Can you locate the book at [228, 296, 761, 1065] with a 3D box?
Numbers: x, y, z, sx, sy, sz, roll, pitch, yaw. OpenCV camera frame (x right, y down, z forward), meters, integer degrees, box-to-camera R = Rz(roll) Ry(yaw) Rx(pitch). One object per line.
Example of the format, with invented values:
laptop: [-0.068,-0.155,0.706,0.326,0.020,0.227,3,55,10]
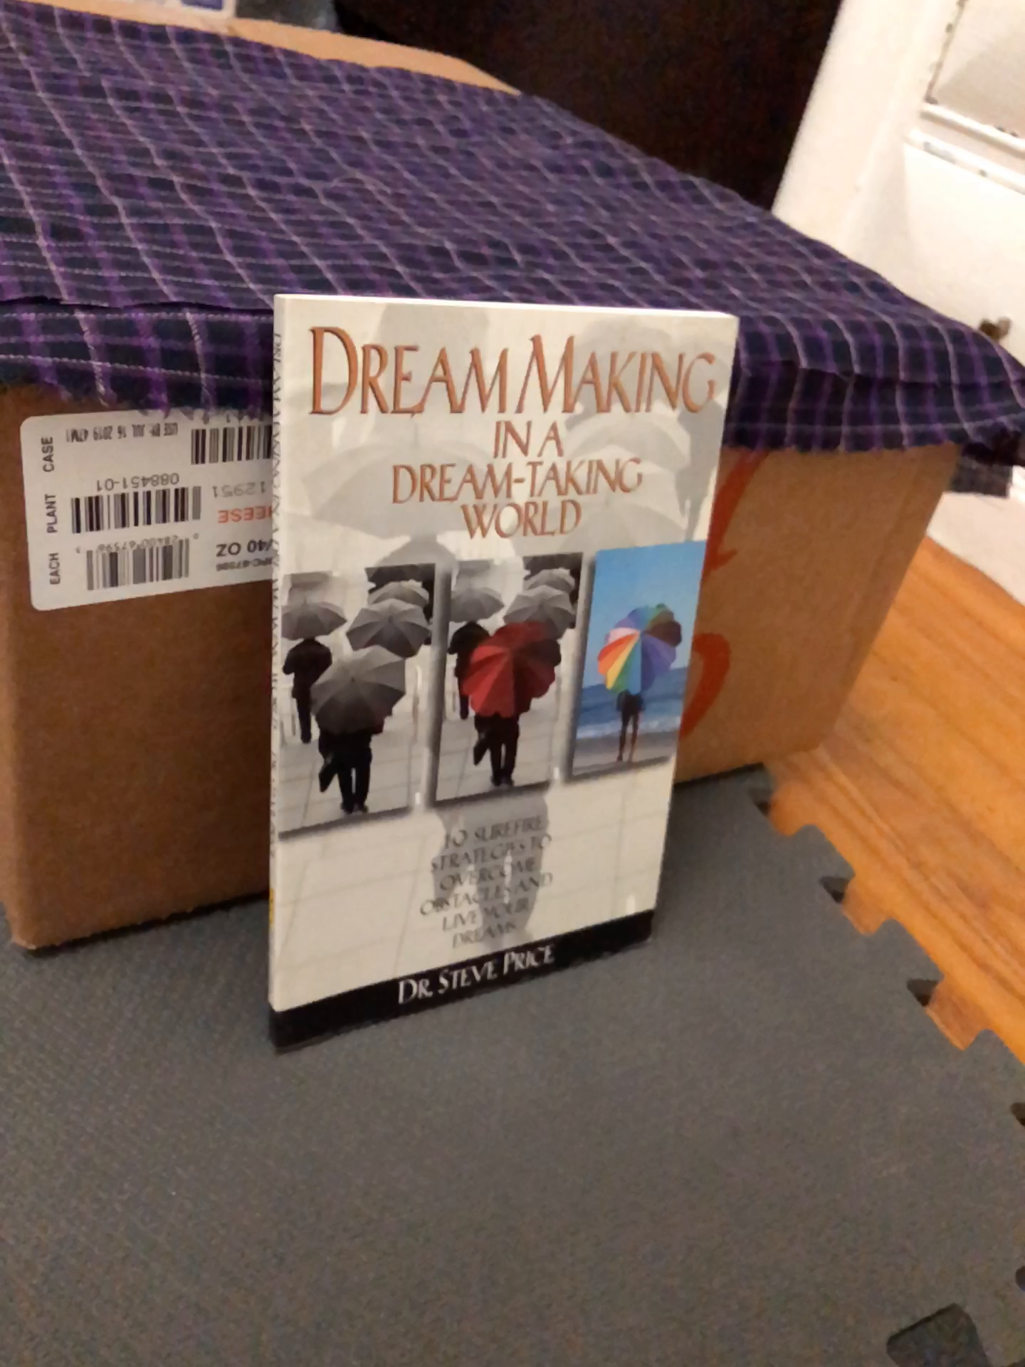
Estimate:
book: [-0.006,0.001,0.347,0.150,0.219,0.020,-8,25,-27]
